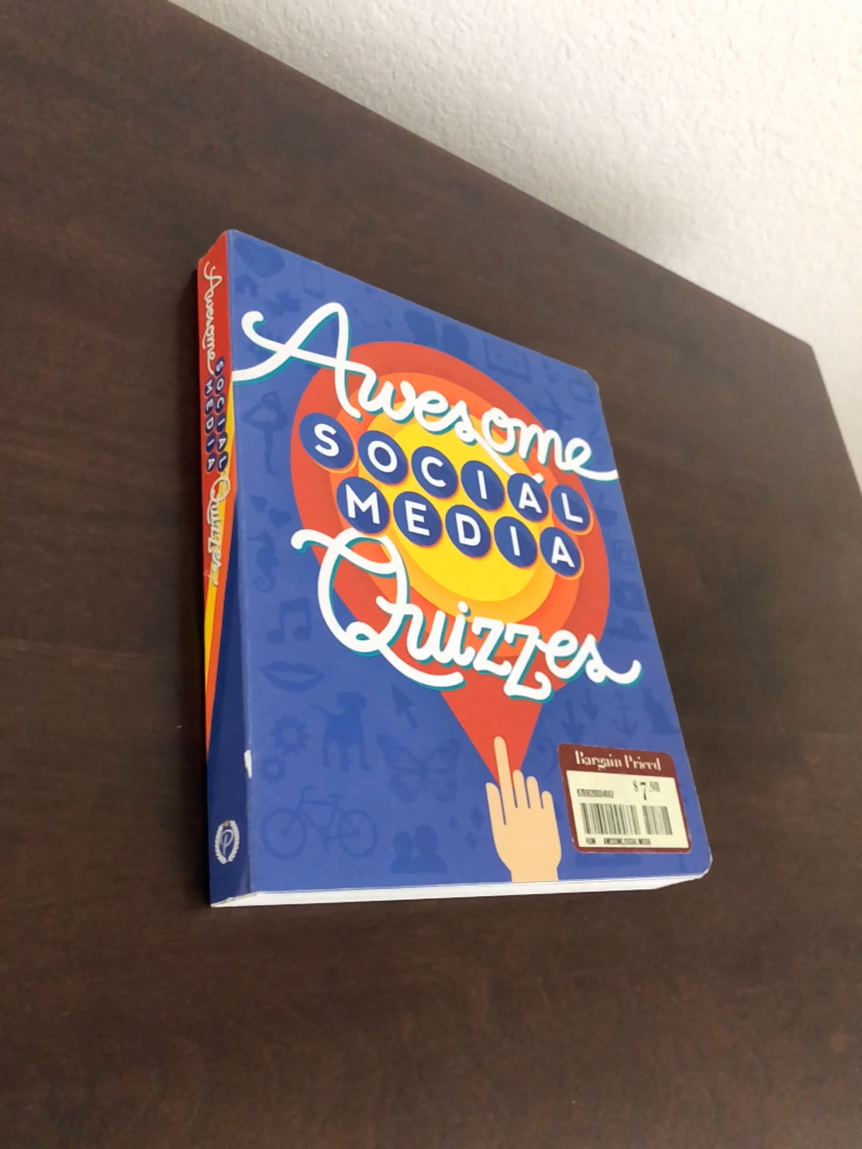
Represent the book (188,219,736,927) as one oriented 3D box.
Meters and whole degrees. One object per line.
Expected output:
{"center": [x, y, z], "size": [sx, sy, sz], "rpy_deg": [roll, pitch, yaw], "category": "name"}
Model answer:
{"center": [0.010, 0.000, 0.305], "size": [0.173, 0.020, 0.201], "rpy_deg": [11, 59, -35], "category": "book"}
